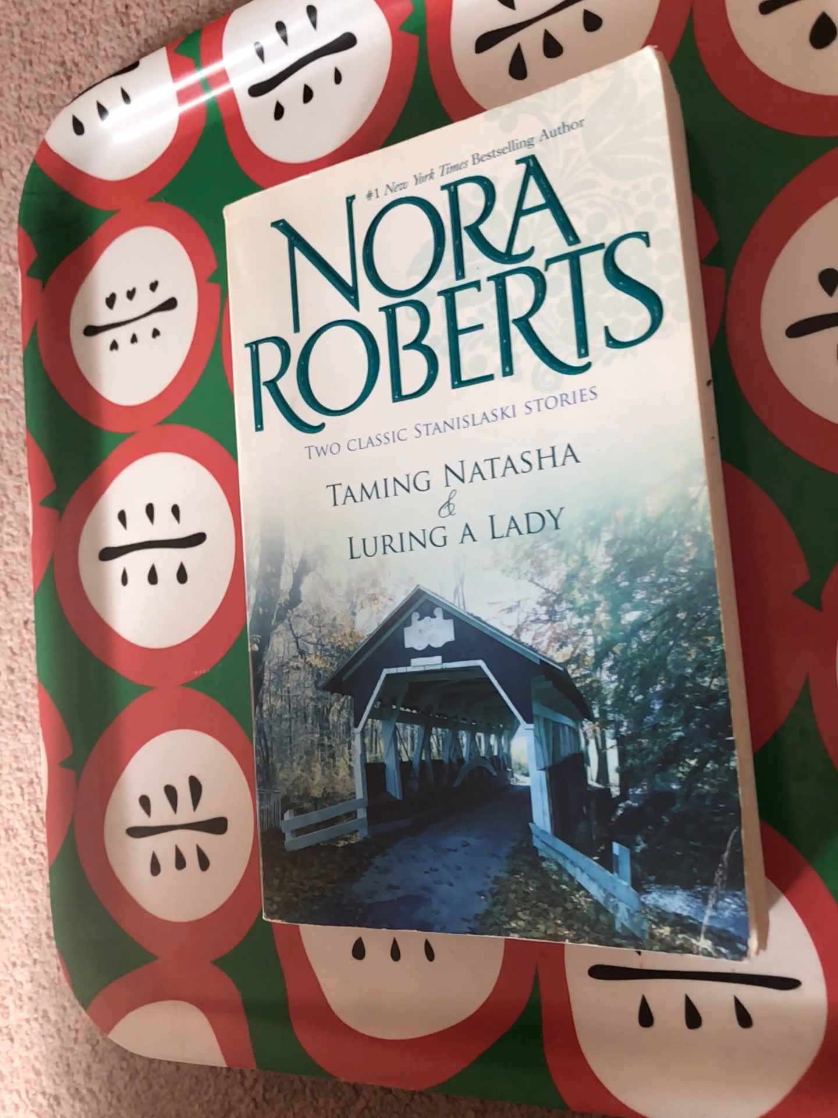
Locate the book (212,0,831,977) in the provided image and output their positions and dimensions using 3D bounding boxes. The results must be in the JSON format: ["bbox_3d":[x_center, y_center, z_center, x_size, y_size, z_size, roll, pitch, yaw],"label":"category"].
[{"bbox_3d":[0.019,-0.016,0.249,0.140,0.040,0.220,-8,84,28],"label":"book"}]
